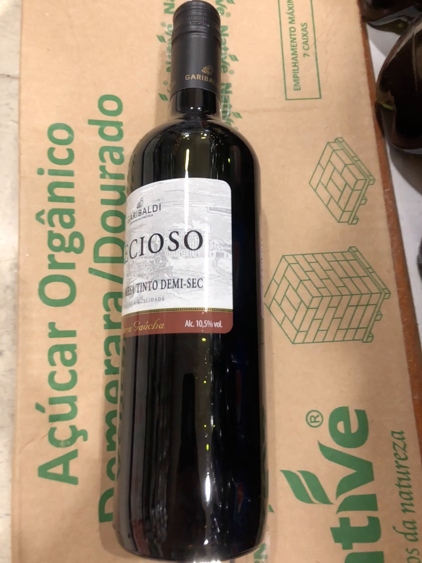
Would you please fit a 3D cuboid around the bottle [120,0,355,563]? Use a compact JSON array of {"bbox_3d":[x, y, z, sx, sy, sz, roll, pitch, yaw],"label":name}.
[{"bbox_3d":[0.006,-0.032,0.257,0.090,0.080,0.340,3,76,-11],"label":"bottle"}]
